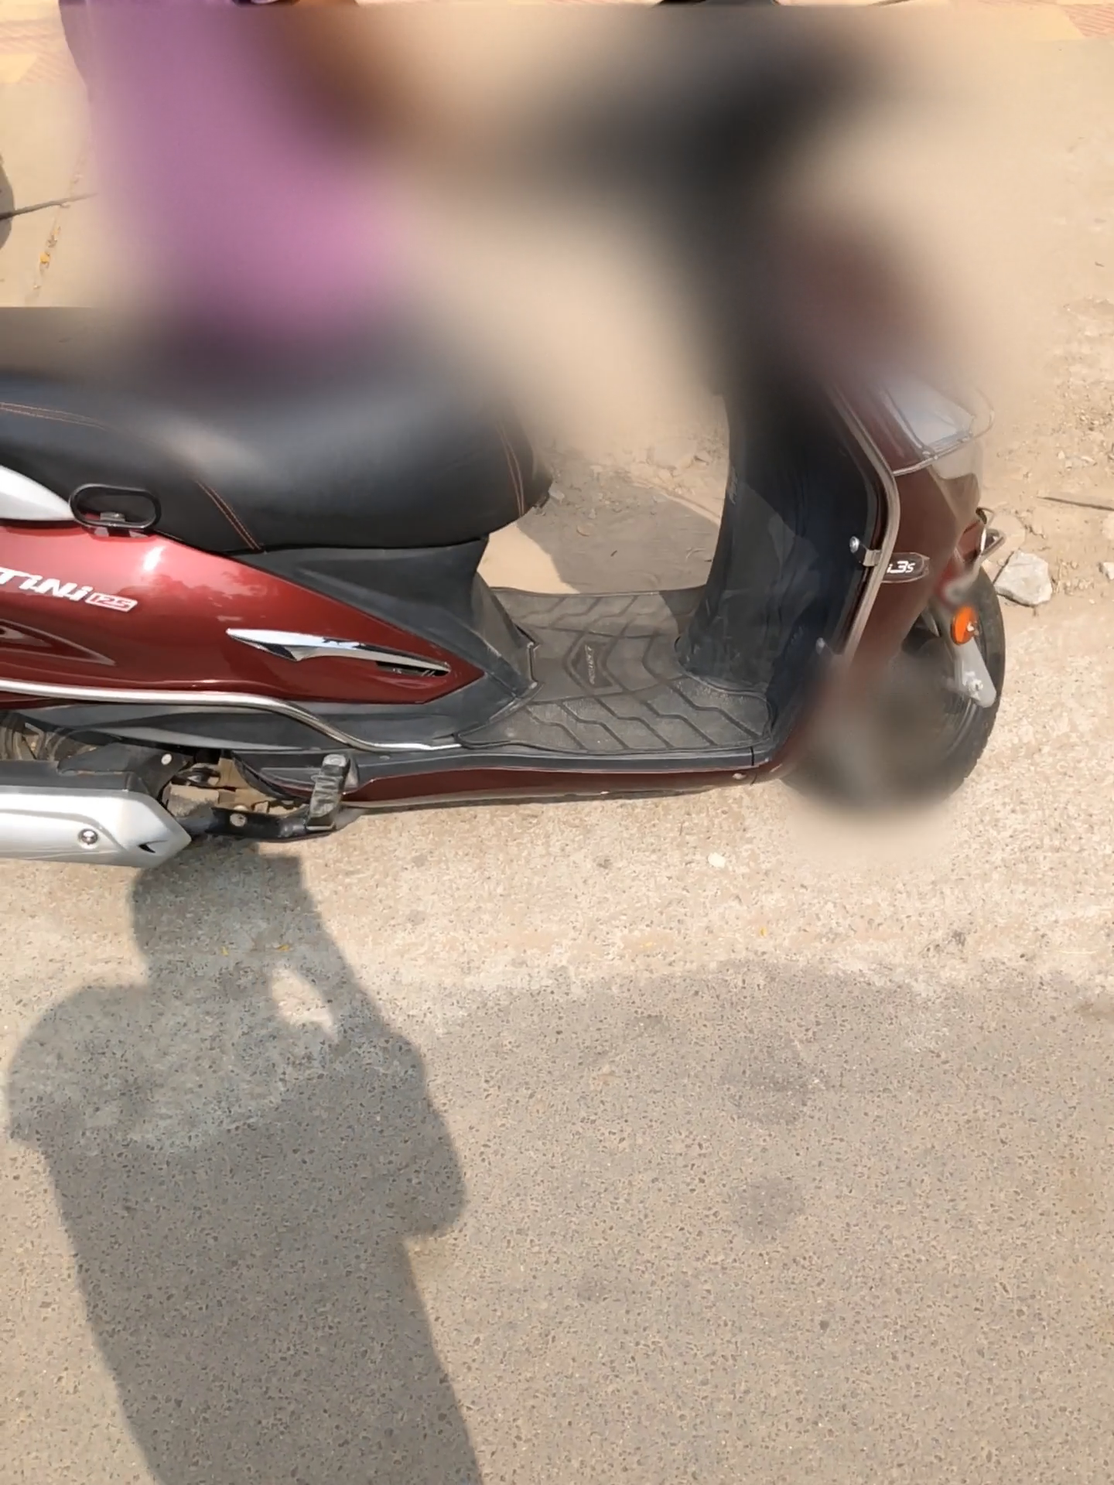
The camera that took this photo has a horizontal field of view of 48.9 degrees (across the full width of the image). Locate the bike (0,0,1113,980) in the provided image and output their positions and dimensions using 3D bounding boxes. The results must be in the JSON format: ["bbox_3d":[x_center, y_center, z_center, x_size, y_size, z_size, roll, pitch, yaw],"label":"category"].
[{"bbox_3d":[-0.135,-0.399,1.708,1.615,1.125,0.678,-9,48,-4],"label":"bike"}]
